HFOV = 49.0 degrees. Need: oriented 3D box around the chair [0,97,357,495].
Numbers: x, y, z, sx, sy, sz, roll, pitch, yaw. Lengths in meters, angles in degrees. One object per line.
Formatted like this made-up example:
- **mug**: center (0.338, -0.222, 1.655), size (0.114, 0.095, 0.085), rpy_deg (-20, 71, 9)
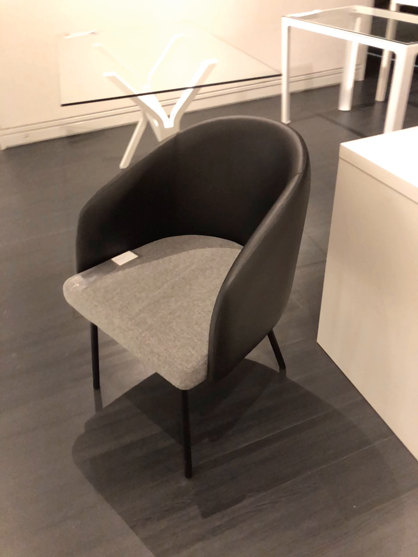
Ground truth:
- **chair**: center (-0.058, 0.002, 1.307), size (0.592, 0.764, 0.613), rpy_deg (-32, 45, -32)
